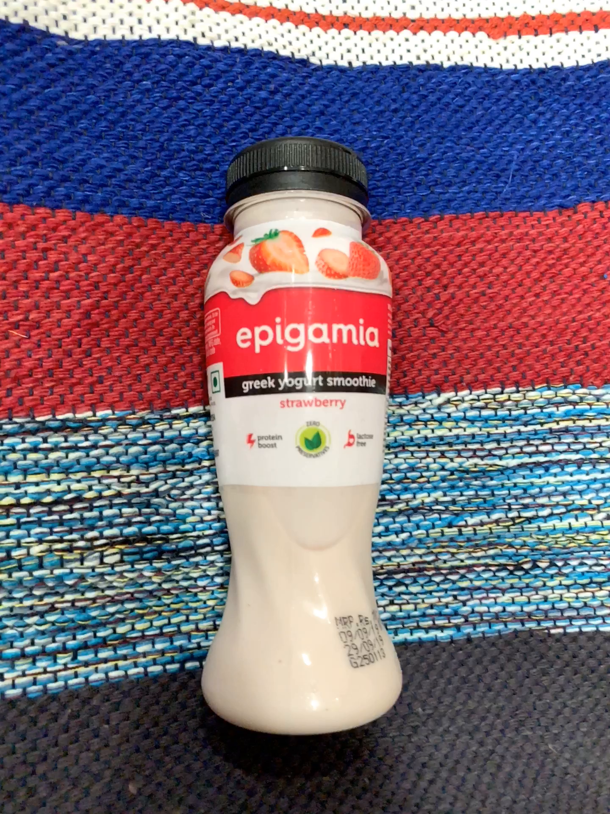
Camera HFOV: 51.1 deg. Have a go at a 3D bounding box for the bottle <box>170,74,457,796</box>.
[{"bbox_3d":[-0.004,0.003,0.172,0.060,0.050,0.160,0,81,-15],"label":"bottle"}]
